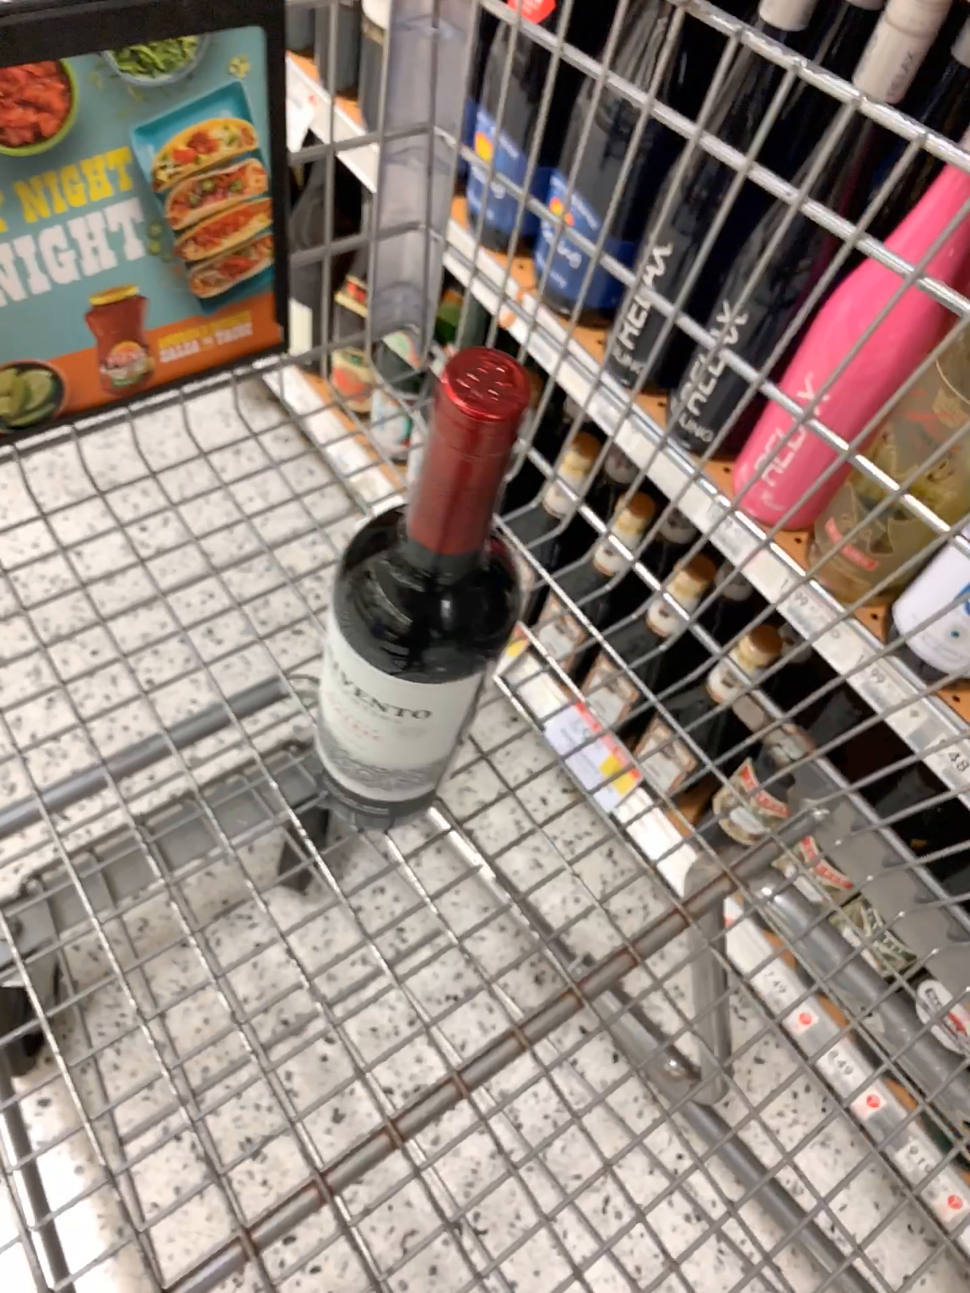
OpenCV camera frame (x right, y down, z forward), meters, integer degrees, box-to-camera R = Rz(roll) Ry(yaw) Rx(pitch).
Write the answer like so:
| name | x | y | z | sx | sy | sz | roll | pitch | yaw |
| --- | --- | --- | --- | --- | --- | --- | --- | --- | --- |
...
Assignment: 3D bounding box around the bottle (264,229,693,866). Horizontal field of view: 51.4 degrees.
| name | x | y | z | sx | sy | sz | roll | pitch | yaw |
| --- | --- | --- | --- | --- | --- | --- | --- | --- | --- |
| bottle | -0.028 | -0.010 | 0.420 | 0.080 | 0.298 | 0.090 | -38 | 76 | -28 |
